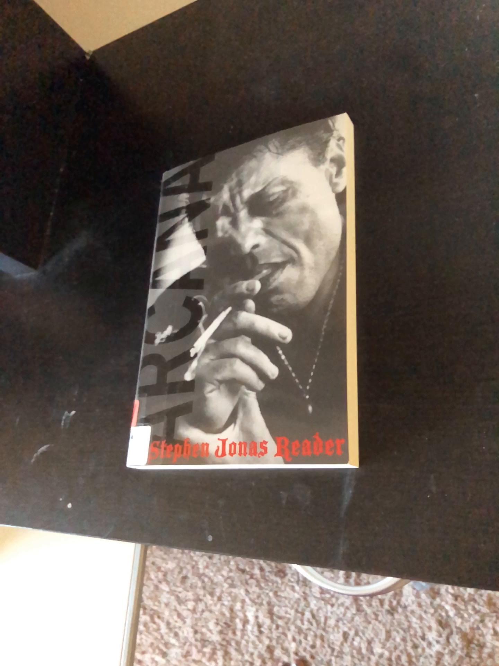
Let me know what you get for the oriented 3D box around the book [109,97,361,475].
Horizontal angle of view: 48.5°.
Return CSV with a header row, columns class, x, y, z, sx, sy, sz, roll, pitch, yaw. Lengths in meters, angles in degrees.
class,x,y,z,sx,sy,sz,roll,pitch,yaw
book,-0.011,-0.031,0.406,0.180,0.024,0.260,-8,68,29
